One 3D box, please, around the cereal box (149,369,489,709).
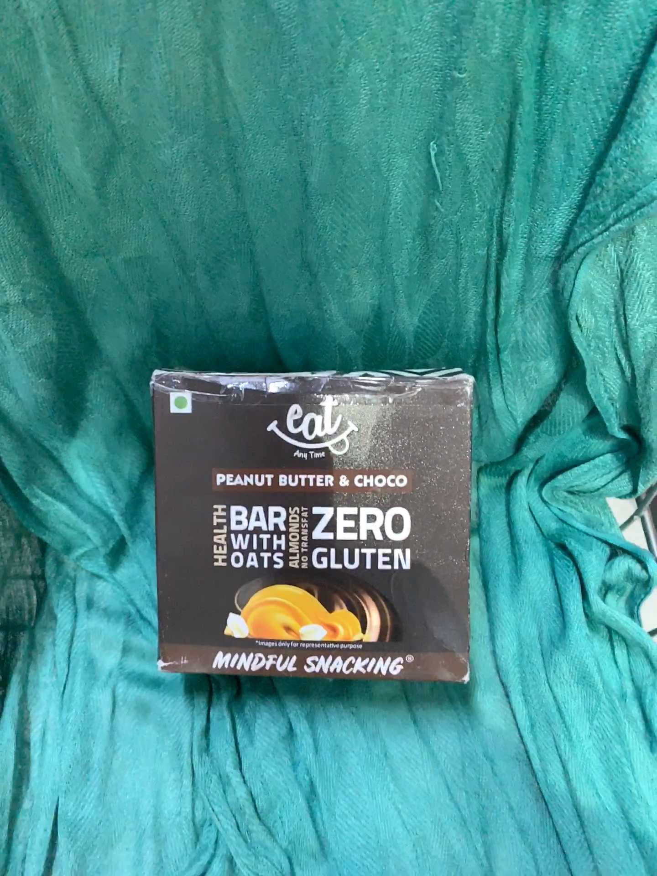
[{"bbox_3d":[-0.003,0.040,0.327,0.140,0.090,0.140,0,92,3],"label":"cereal box"}]
